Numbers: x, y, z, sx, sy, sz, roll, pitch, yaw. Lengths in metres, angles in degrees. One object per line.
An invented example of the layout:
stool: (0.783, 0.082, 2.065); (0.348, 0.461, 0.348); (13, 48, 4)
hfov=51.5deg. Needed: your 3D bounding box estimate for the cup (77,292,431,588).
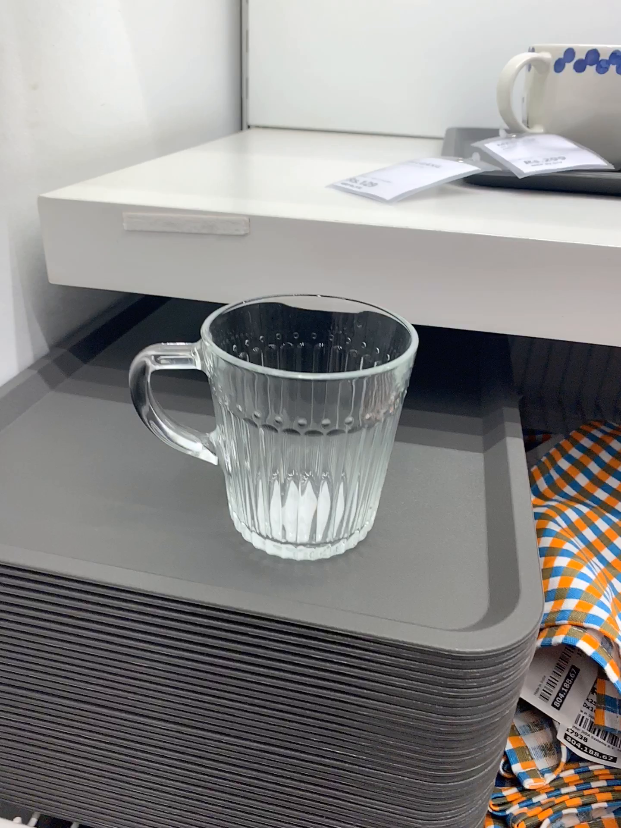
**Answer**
cup: (-0.017, 0.006, 0.253); (0.110, 0.080, 0.080); (4, 28, 2)
